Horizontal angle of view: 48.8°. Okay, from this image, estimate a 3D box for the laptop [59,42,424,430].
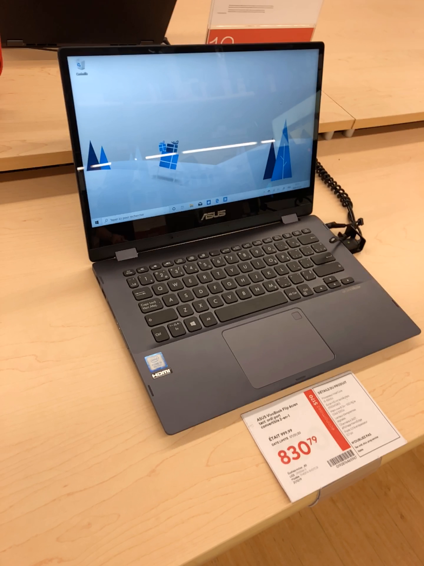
[{"bbox_3d":[0.047,-0.082,0.489,0.313,0.188,0.314,-14,54,-25],"label":"laptop"}]
